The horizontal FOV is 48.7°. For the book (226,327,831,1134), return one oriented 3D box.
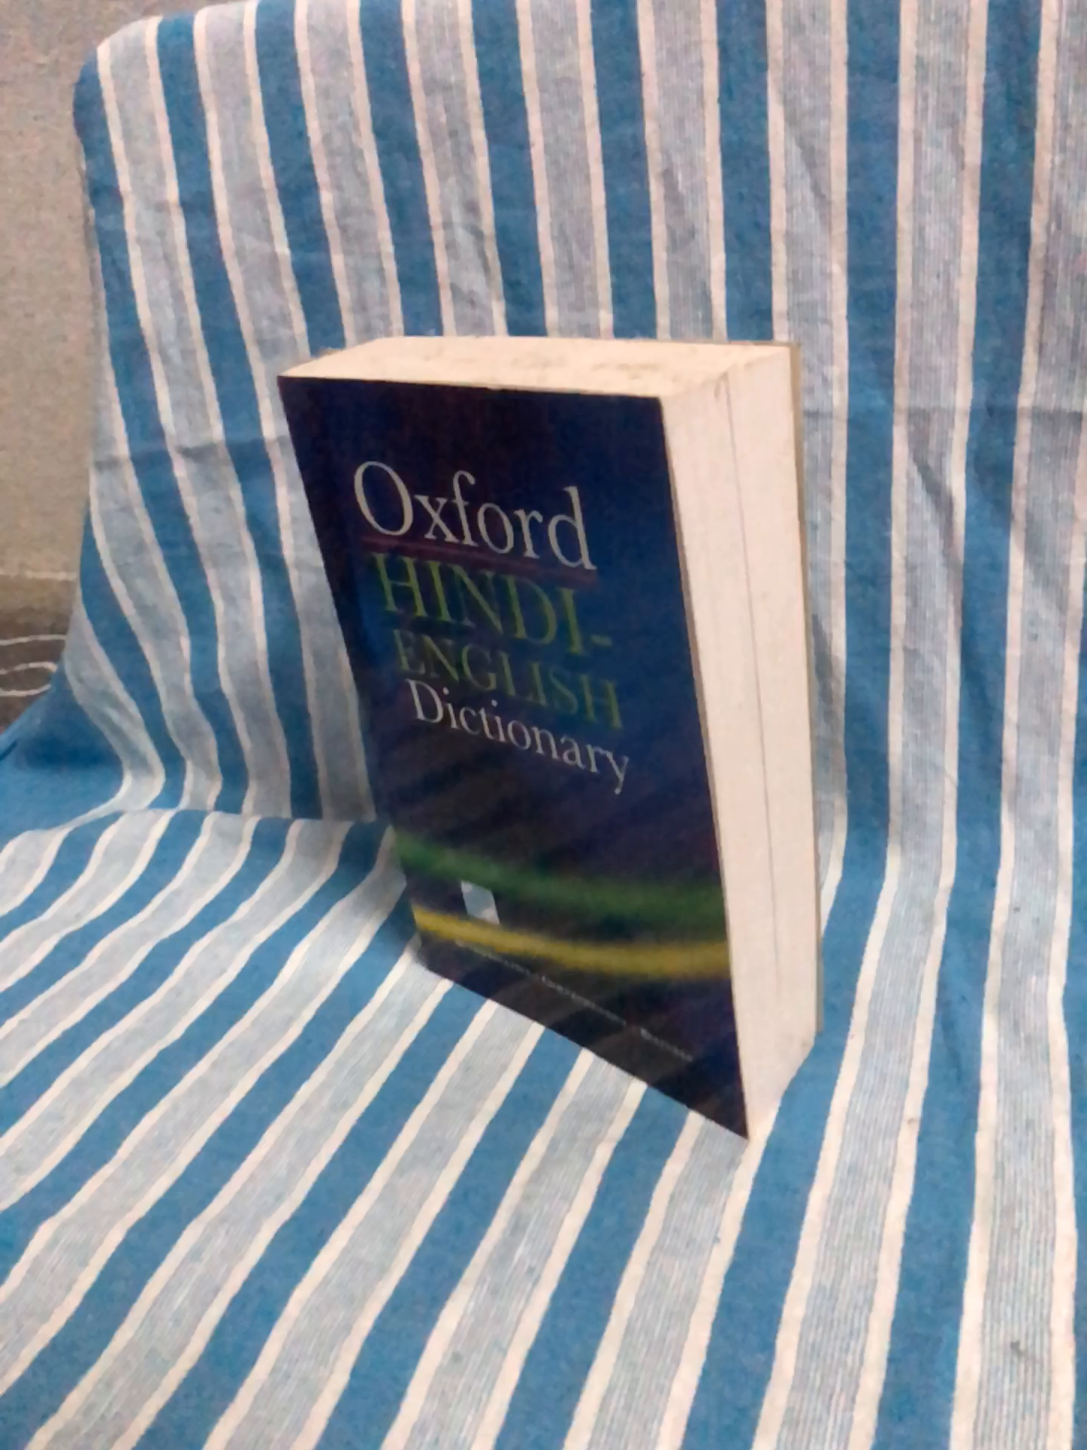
[{"bbox_3d":[0.001,-0.002,0.336,0.140,0.199,0.050,17,39,39],"label":"book"}]
